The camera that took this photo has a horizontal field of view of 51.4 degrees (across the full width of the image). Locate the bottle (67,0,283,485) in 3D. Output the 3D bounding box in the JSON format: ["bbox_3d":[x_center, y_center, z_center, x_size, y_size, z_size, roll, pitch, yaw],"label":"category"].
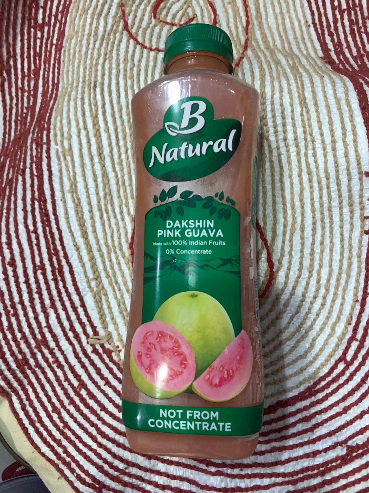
[{"bbox_3d":[0.002,-0.018,0.180,0.080,0.060,0.210,0,84,9],"label":"bottle"}]
